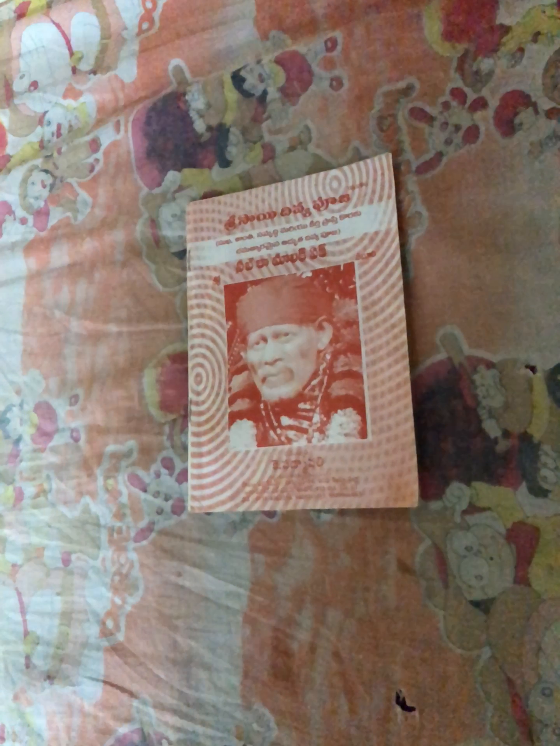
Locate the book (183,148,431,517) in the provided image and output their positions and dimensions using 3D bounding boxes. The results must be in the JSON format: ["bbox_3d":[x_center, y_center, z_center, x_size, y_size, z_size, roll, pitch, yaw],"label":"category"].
[{"bbox_3d":[0.007,-0.018,0.312,0.120,0.010,0.173,-6,77,21],"label":"book"}]
